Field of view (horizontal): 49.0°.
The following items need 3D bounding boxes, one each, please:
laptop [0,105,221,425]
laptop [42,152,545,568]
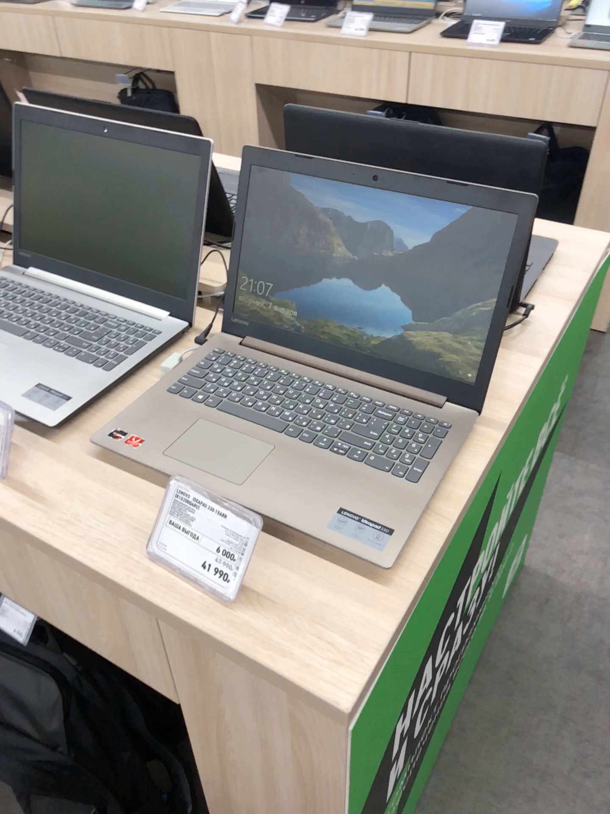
[{"bbox_3d":[-0.347,-0.210,0.860,0.343,0.207,0.324,19,44,23],"label":"laptop"},{"bbox_3d":[0.005,-0.084,0.696,0.351,0.209,0.329,19,44,25],"label":"laptop"}]
